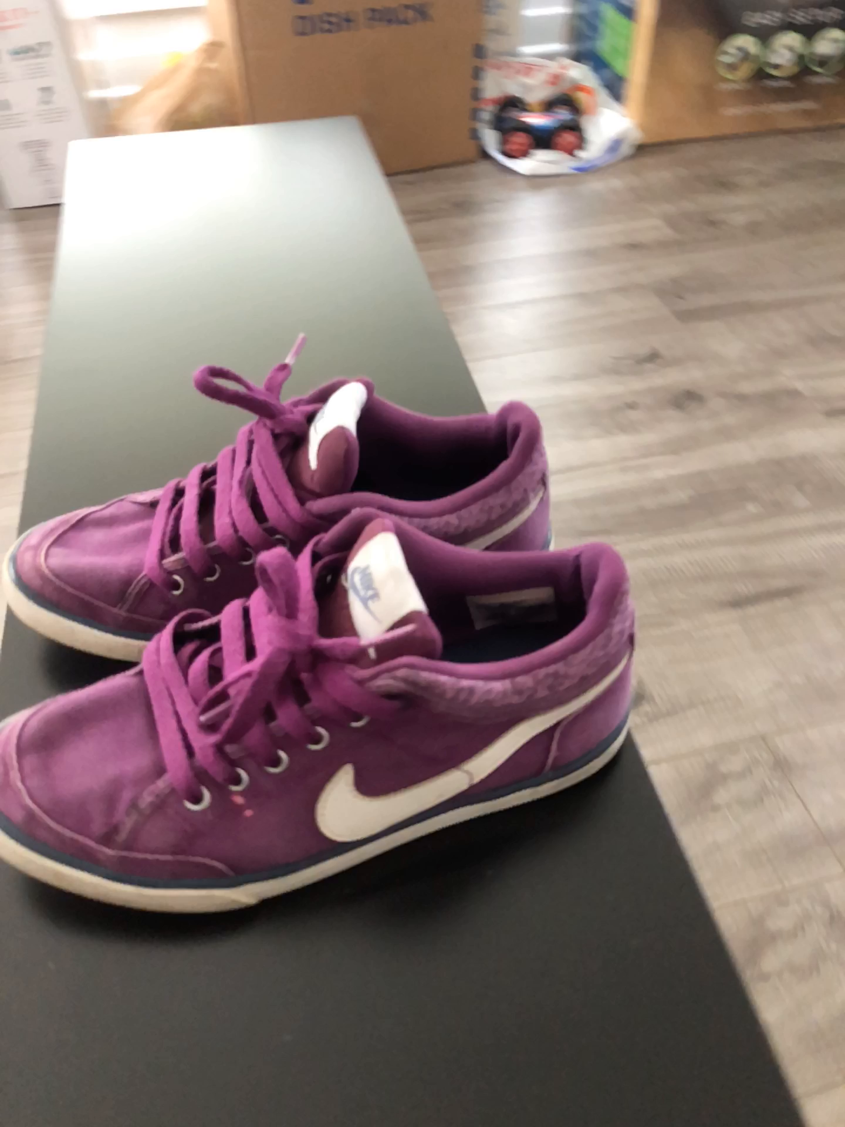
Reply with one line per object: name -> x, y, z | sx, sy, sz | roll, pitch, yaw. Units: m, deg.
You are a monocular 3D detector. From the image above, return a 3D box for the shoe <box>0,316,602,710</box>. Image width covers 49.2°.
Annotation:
shoe -> -0.060, -0.025, 0.397 | 0.240, 0.100, 0.100 | -7, 45, -6

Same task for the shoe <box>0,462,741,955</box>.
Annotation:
shoe -> -0.037, 0.048, 0.330 | 0.250, 0.100, 0.100 | -7, 45, -6
